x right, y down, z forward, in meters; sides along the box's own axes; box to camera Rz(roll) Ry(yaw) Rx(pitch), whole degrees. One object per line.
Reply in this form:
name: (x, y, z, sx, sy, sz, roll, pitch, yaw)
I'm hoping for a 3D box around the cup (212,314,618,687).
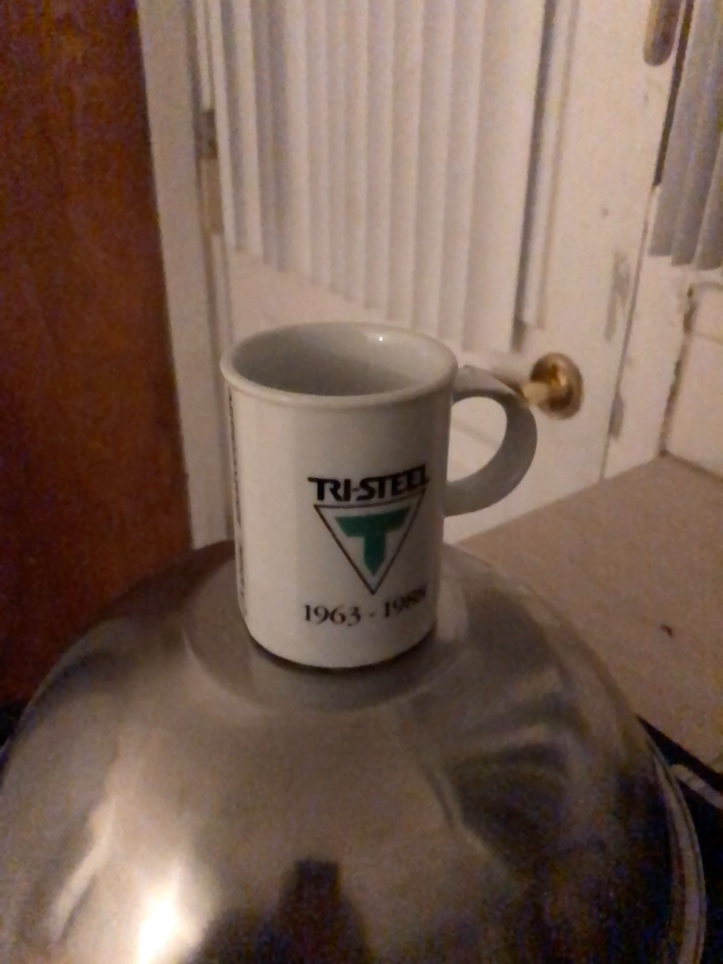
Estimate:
cup: (0.011, 0.003, 0.280, 0.116, 0.099, 0.071, -4, 29, -8)
